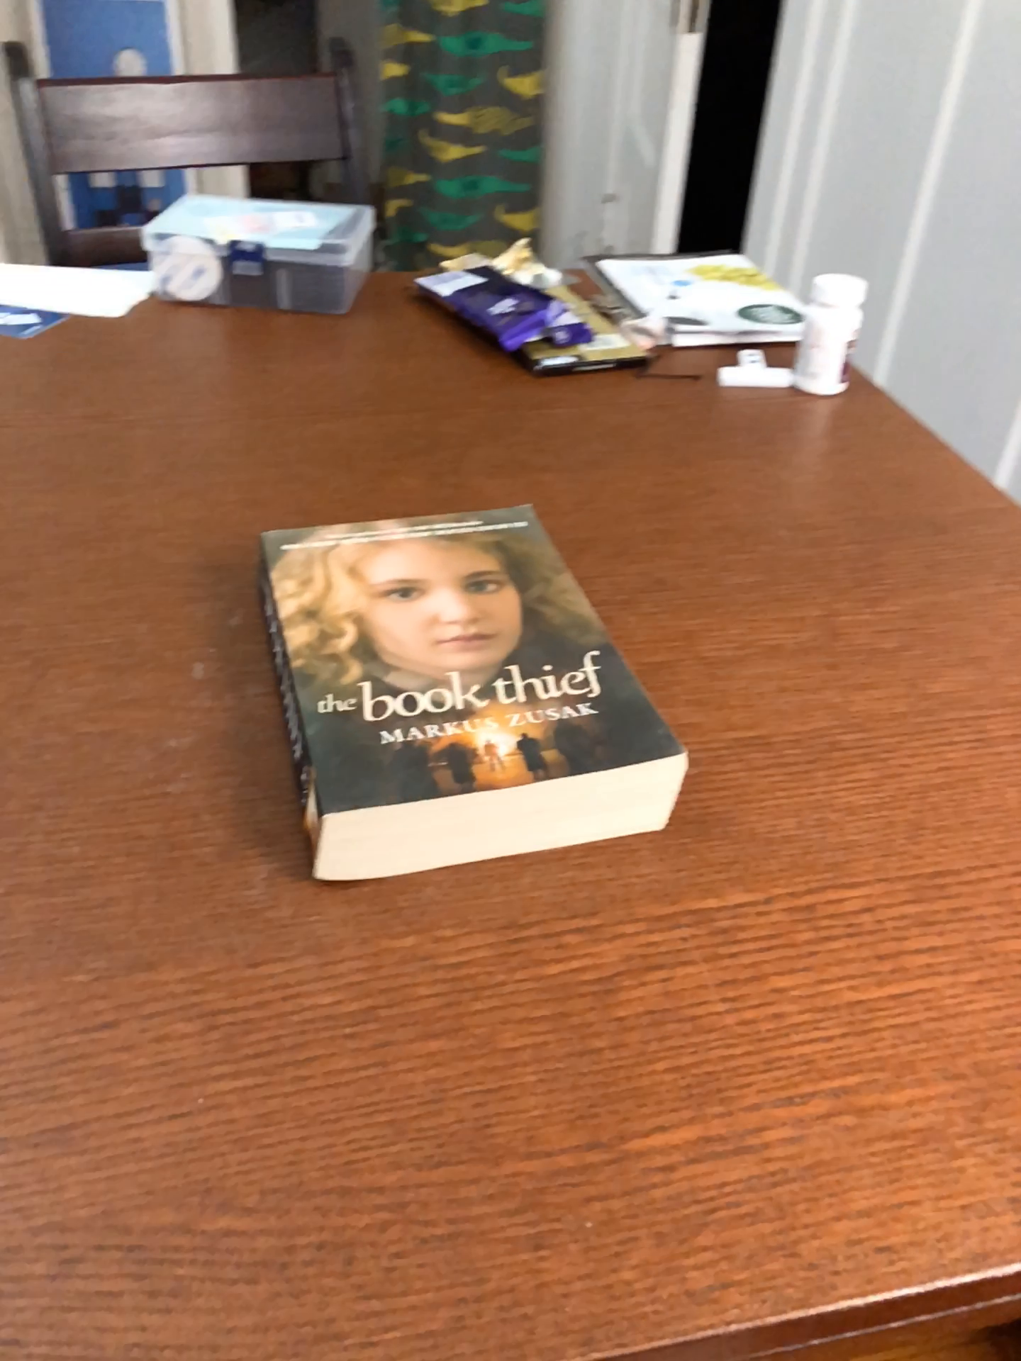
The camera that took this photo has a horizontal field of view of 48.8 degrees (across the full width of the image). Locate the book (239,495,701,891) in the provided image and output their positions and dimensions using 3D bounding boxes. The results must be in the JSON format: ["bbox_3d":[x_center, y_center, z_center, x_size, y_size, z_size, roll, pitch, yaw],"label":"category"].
[{"bbox_3d":[-0.032,-0.011,0.494,0.150,0.030,0.221,-7,38,-14],"label":"book"}]
